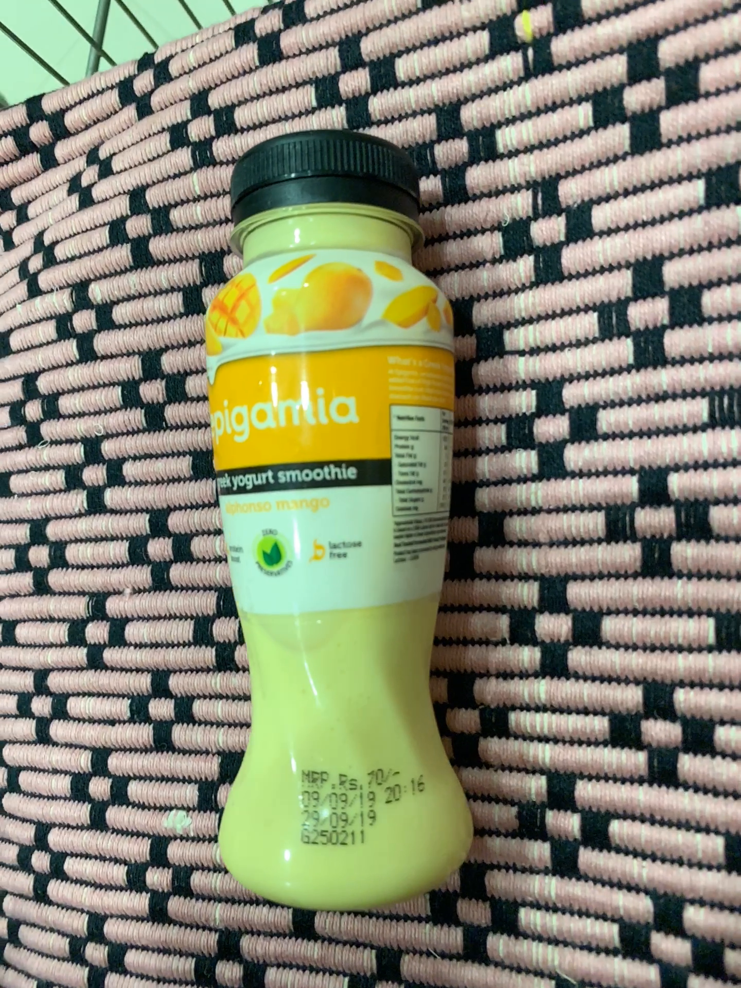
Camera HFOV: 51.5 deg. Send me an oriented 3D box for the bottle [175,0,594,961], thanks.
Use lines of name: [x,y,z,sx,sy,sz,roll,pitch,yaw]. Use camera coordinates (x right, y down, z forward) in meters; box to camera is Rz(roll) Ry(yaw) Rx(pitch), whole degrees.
bottle: [0.003,-0.005,0.166,0.060,0.060,0.160,-5,85,36]
